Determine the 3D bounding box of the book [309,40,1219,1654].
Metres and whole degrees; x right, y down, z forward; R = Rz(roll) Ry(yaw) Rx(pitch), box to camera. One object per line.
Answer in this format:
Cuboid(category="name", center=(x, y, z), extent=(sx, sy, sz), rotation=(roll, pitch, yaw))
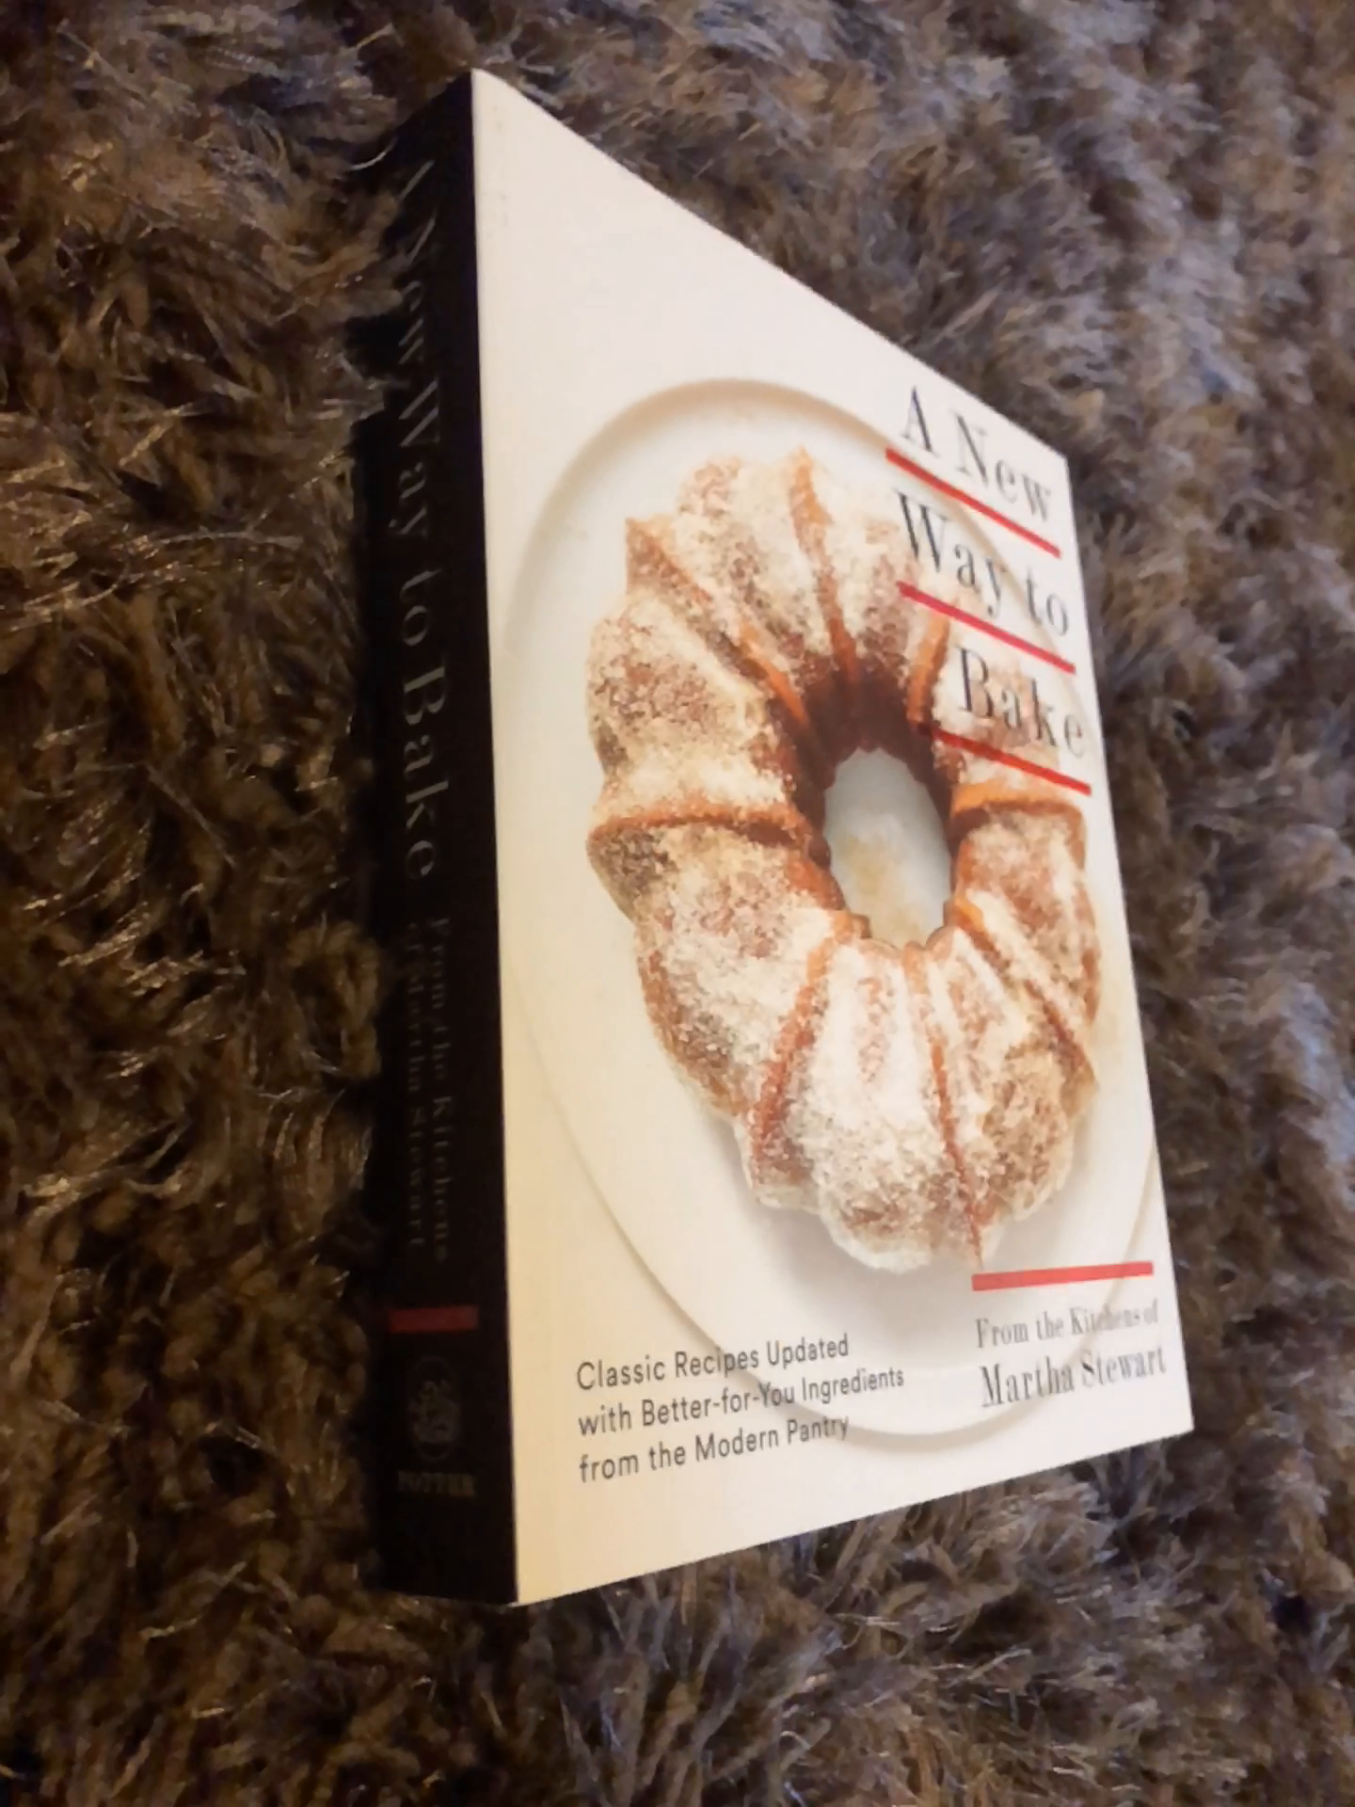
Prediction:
Cuboid(category="book", center=(0.026, -0.006, 0.290), extent=(0.193, 0.040, 0.229), rotation=(10, 71, -46))
